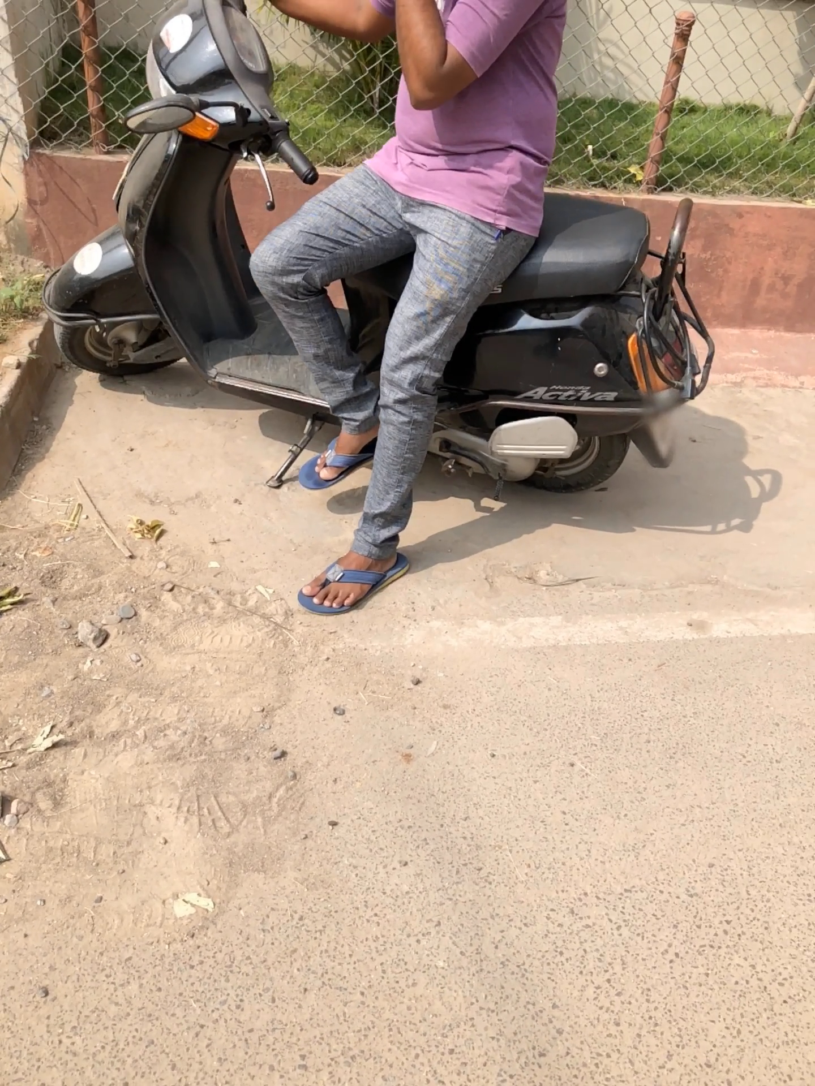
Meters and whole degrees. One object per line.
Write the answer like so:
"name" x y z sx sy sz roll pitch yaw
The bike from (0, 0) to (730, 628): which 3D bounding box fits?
"bike" -0.204 -0.637 2.043 1.547 1.153 0.713 12 35 8
